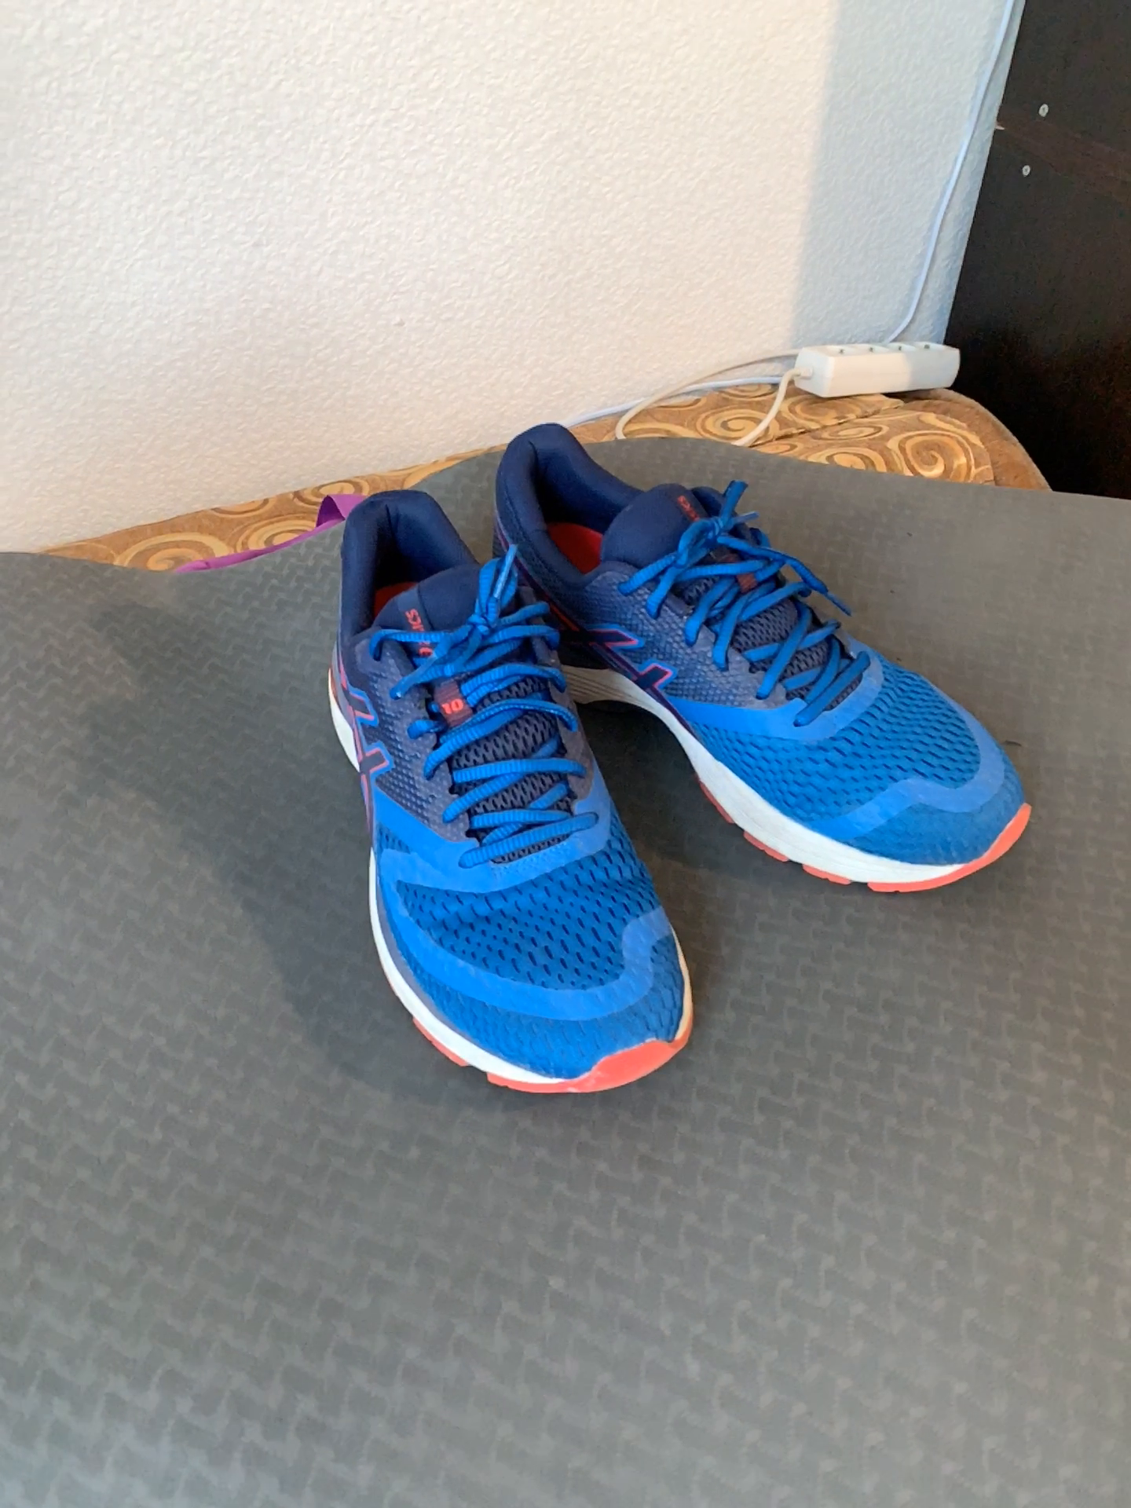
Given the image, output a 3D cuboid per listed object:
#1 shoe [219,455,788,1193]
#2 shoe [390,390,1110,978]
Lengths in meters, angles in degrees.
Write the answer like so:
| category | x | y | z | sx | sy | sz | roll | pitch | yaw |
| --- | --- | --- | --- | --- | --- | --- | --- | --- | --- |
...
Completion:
| category | x | y | z | sx | sy | sz | roll | pitch | yaw |
| --- | --- | --- | --- | --- | --- | --- | --- | --- | --- |
| shoe | -0.044 | 0.005 | 0.492 | 0.120 | 0.109 | 0.301 | -17 | 47 | -17 |
| shoe | 0.067 | -0.050 | 0.542 | 0.301 | 0.109 | 0.120 | 34 | 53 | 30 |
